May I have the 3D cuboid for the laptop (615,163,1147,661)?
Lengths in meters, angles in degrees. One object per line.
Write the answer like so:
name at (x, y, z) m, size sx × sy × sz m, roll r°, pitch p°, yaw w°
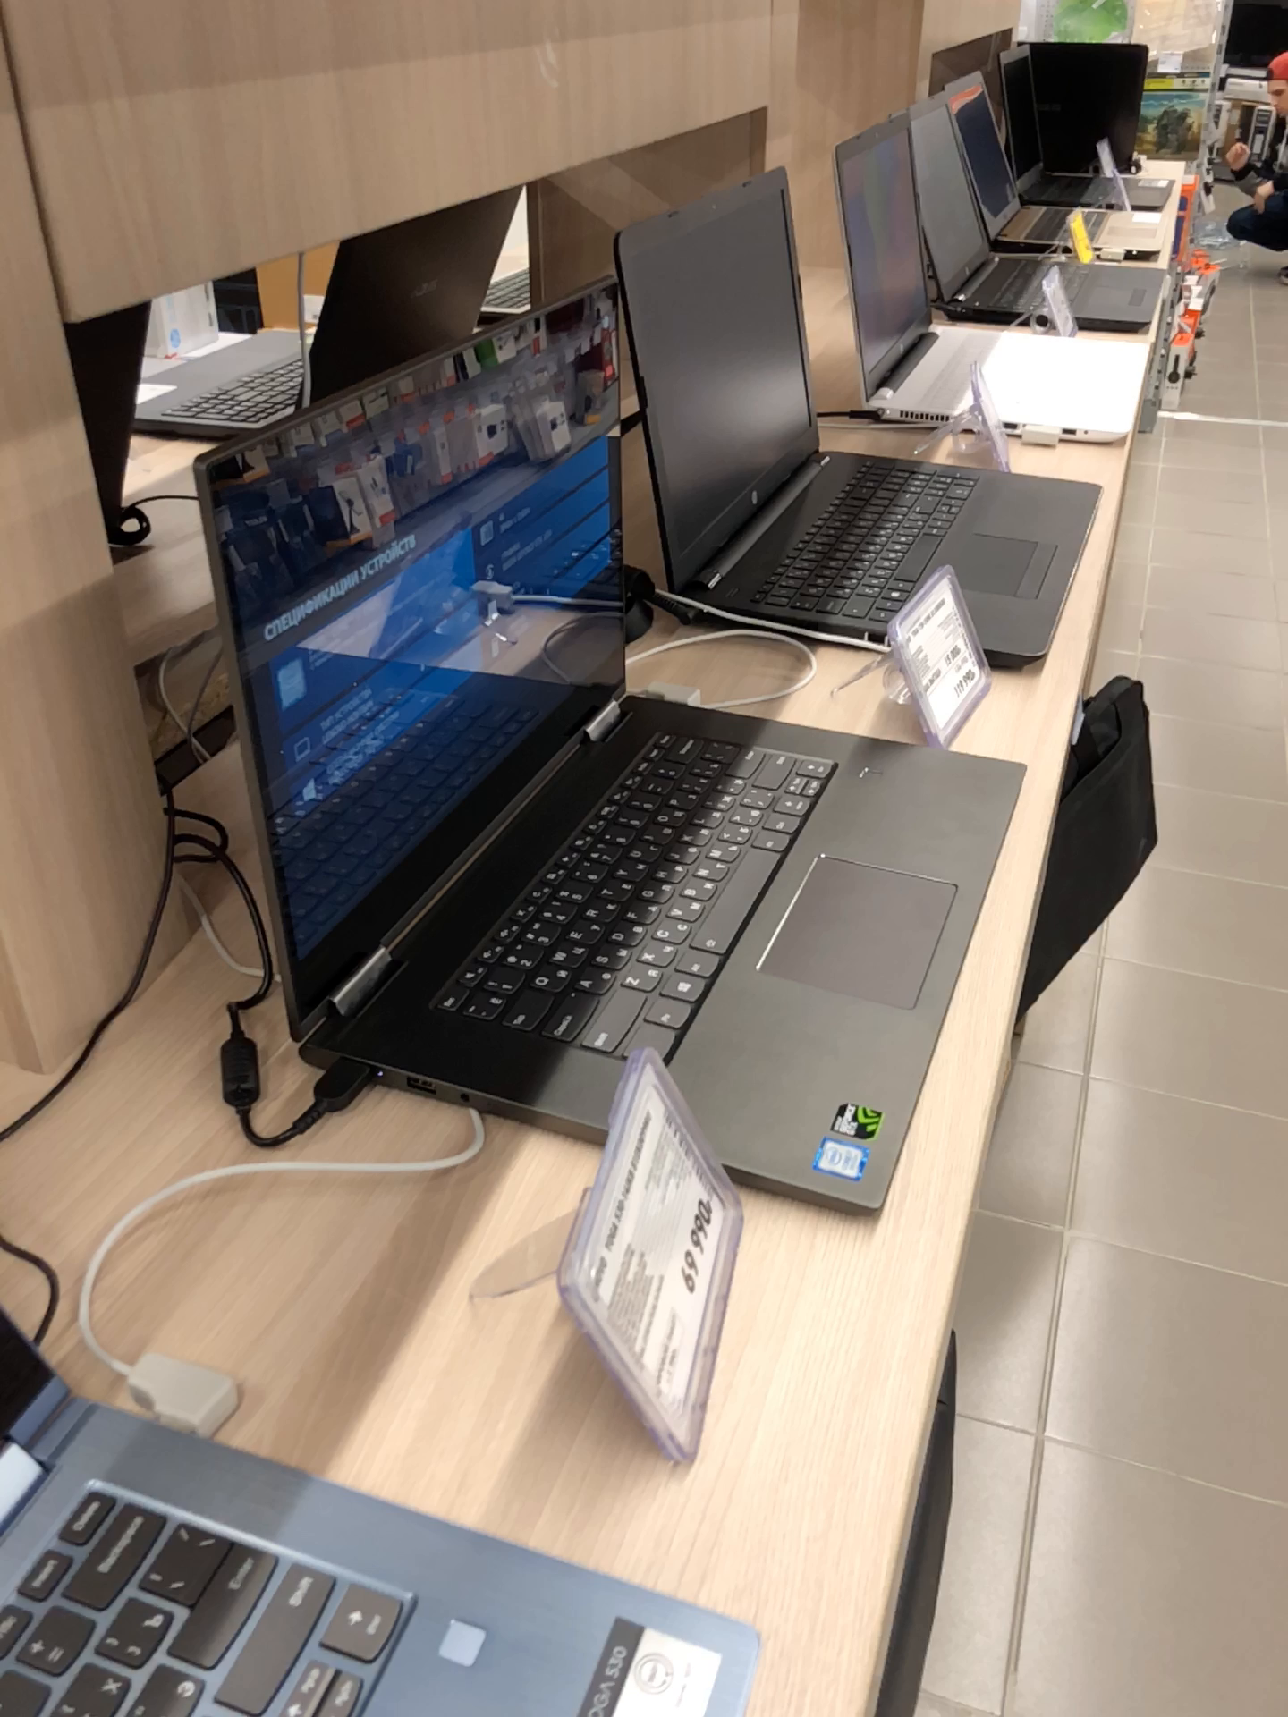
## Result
laptop at (0.172, -0.350, 1.037) m, size 0.308 × 0.238 × 0.307 m, roll 13°, pitch 36°, yaw 24°

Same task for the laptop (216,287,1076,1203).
laptop at (0.032, -0.092, 0.651) m, size 0.252 × 0.240 × 0.360 m, roll 12°, pitch 33°, yaw 18°
